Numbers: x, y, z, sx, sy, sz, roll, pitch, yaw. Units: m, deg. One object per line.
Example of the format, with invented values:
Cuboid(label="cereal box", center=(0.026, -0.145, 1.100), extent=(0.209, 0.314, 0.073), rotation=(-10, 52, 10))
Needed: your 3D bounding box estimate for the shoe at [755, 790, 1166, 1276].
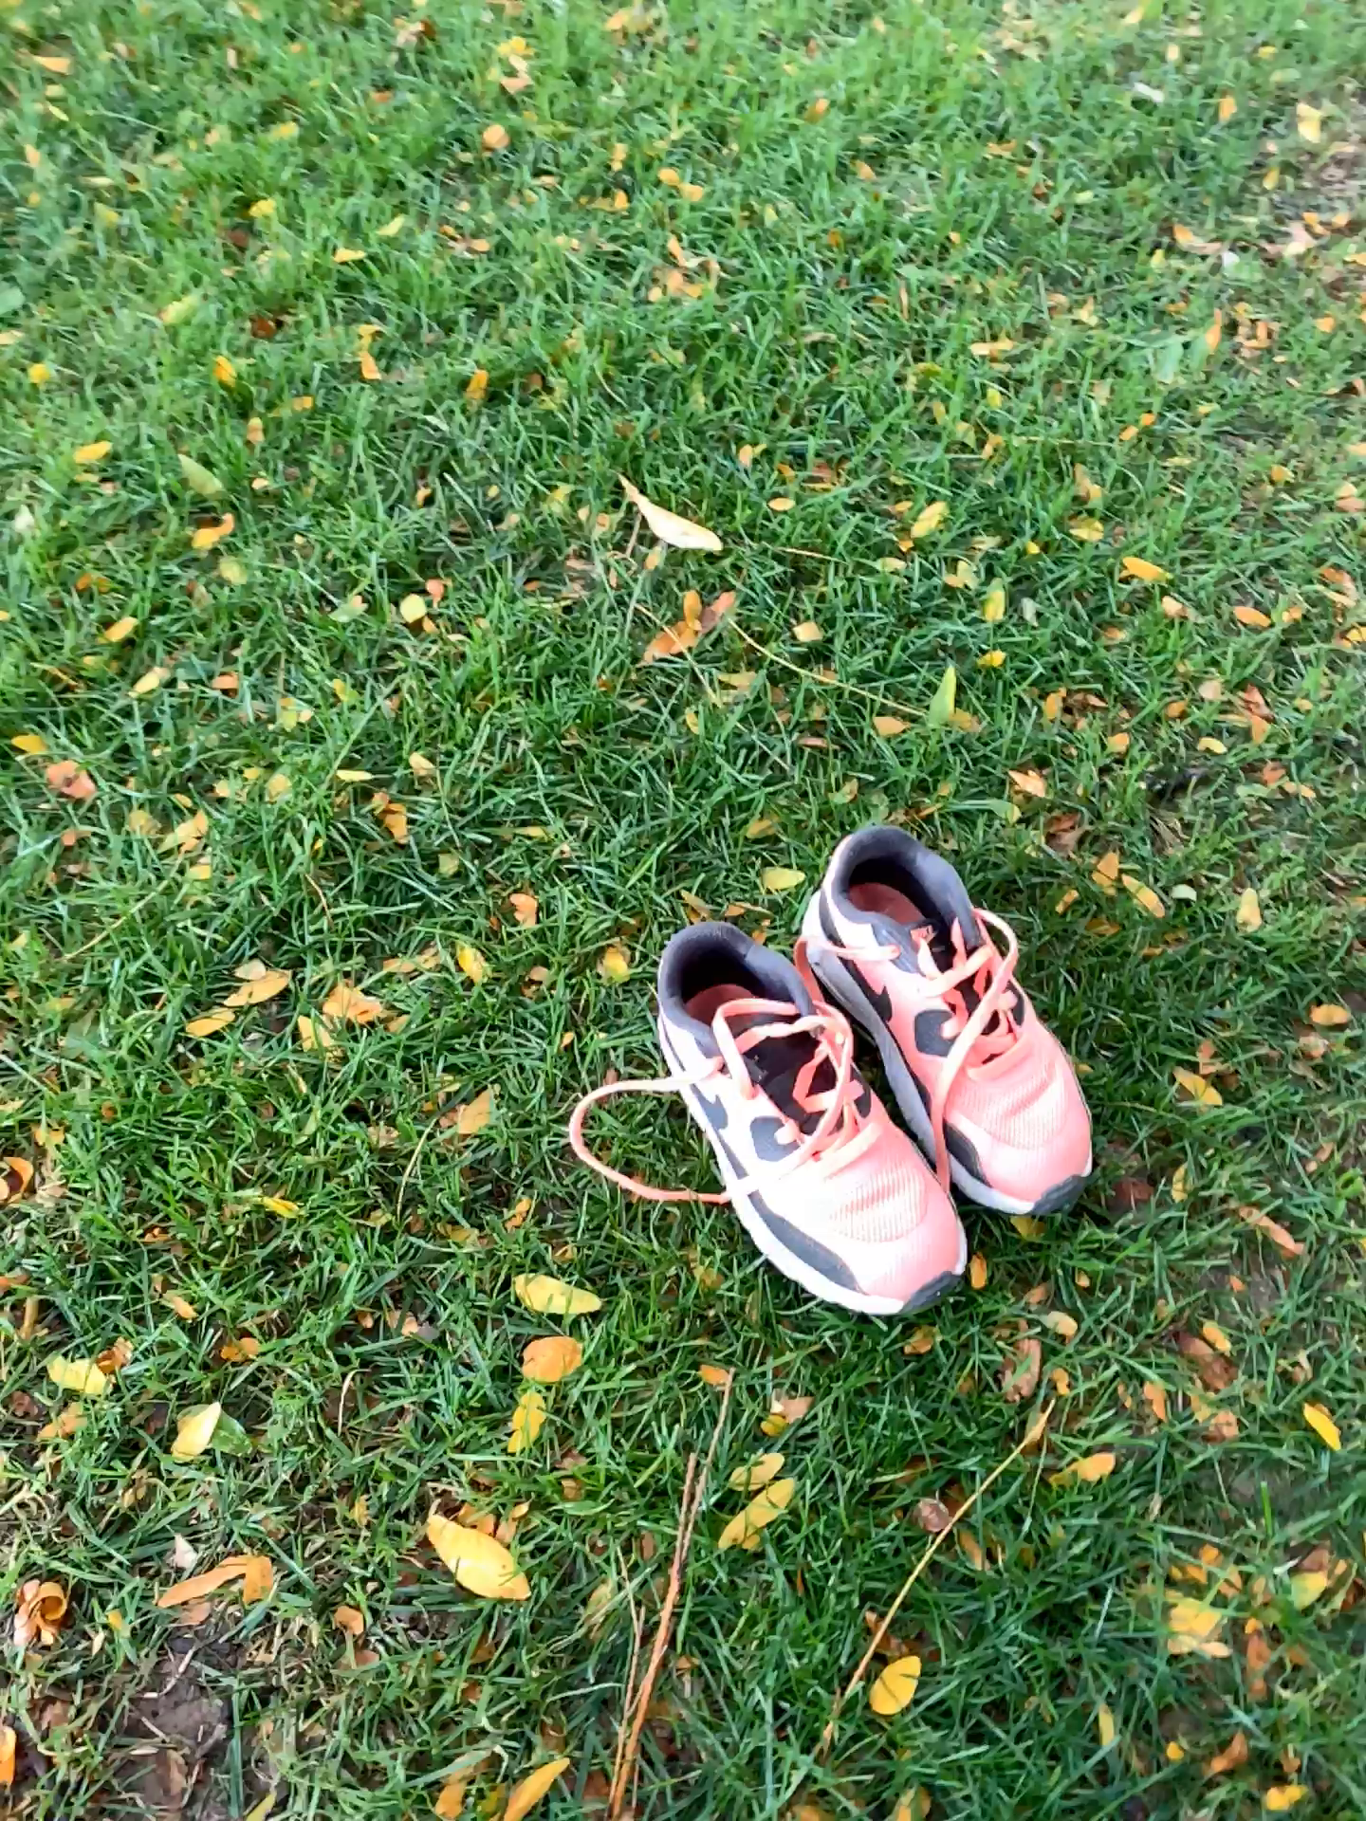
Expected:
Cuboid(label="shoe", center=(0.116, 0.050, 0.636), extent=(0.080, 0.070, 0.201), rotation=(-24, 58, -13))

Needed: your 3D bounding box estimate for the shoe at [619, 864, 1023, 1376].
Cuboid(label="shoe", center=(0.053, 0.086, 0.616), extent=(0.080, 0.070, 0.201), rotation=(-24, 58, -13))
